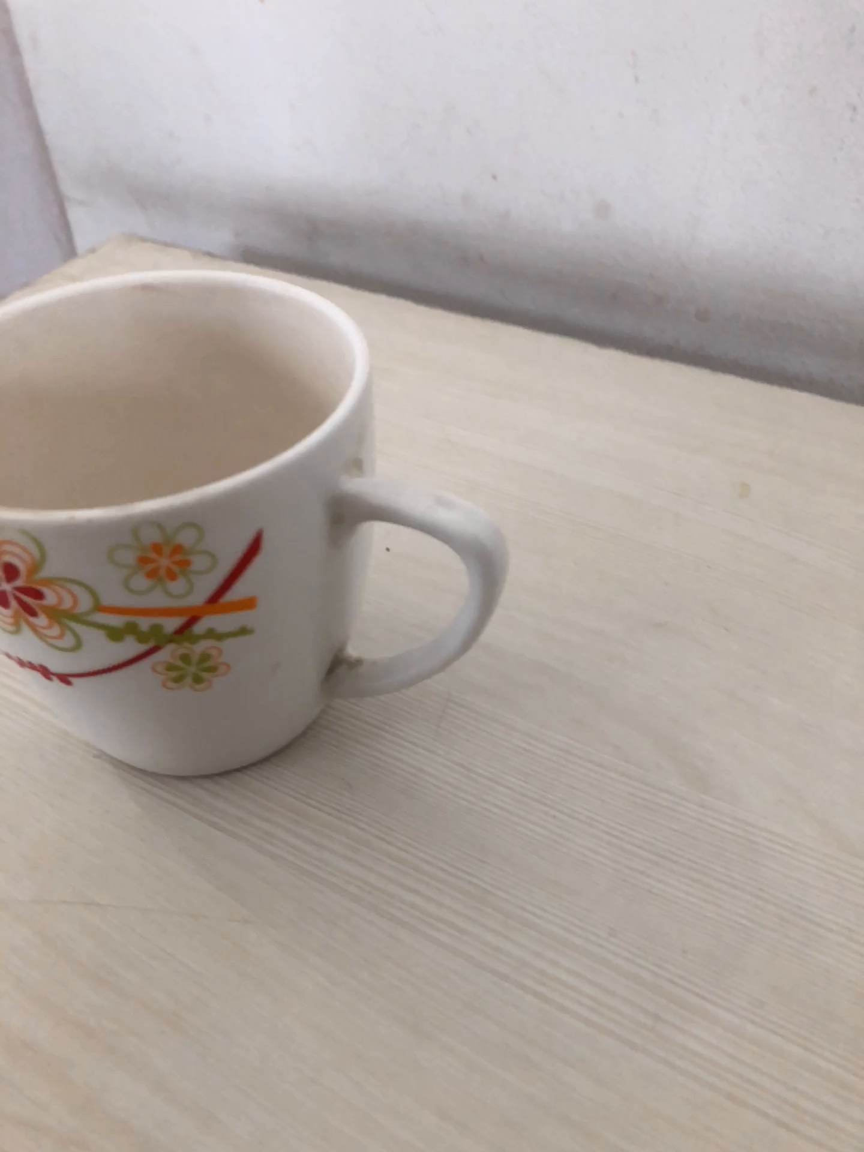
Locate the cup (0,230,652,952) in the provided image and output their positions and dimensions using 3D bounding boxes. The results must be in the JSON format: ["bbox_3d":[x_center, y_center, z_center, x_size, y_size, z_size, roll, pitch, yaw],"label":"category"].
[{"bbox_3d":[-0.030,-0.004,0.165,0.110,0.070,0.070,15,44,18],"label":"cup"}]
